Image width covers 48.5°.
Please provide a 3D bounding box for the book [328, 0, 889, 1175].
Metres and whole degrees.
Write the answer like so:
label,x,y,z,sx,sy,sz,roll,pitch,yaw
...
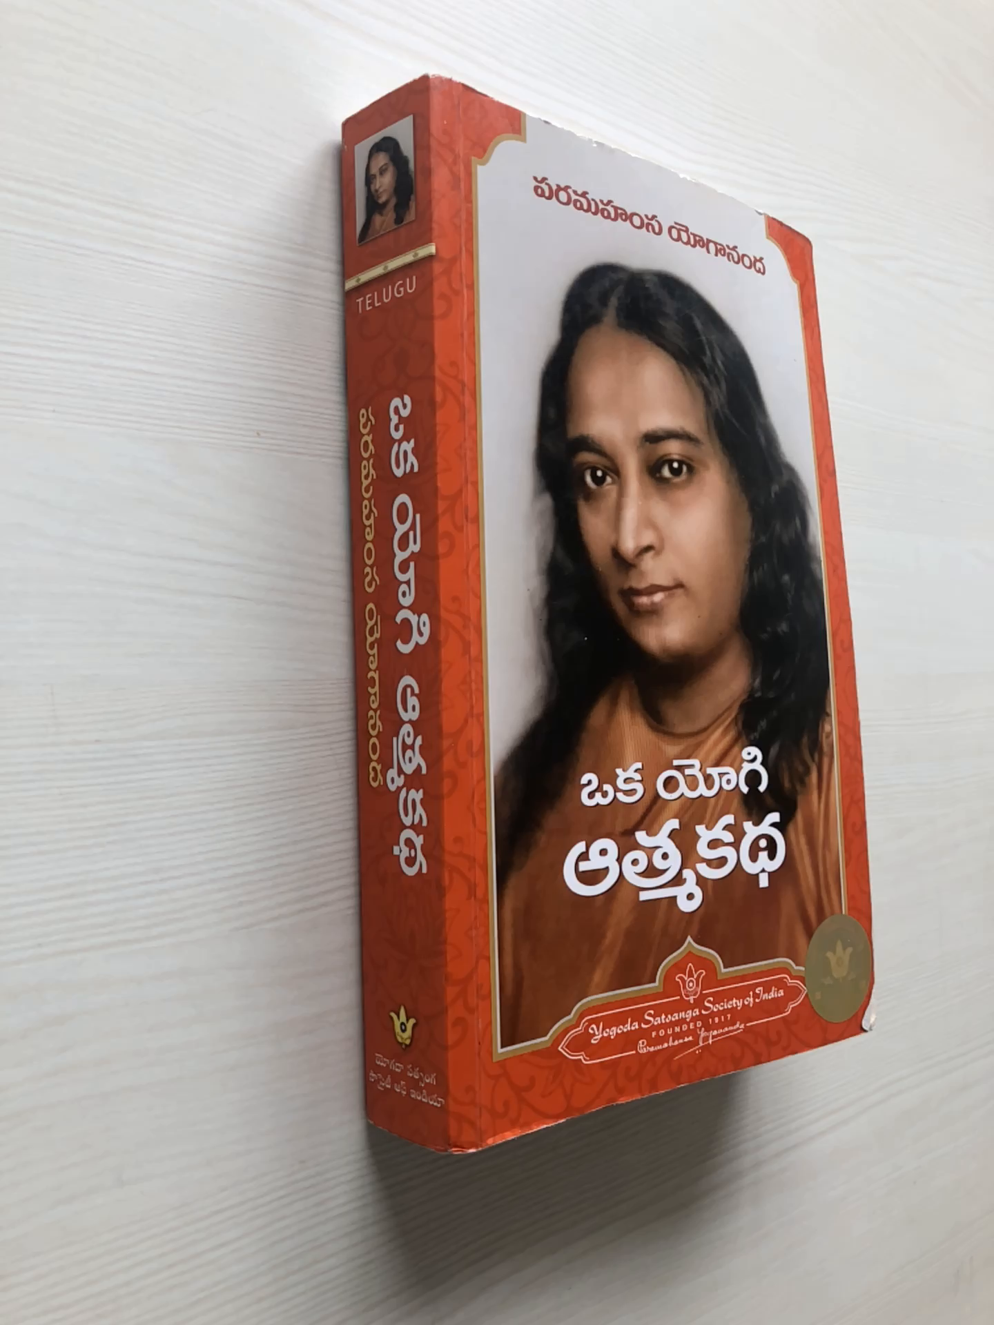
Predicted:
label,x,y,z,sx,sy,sz,roll,pitch,yaw
book,0.035,-0.016,0.280,0.151,0.040,0.233,2,85,-39
